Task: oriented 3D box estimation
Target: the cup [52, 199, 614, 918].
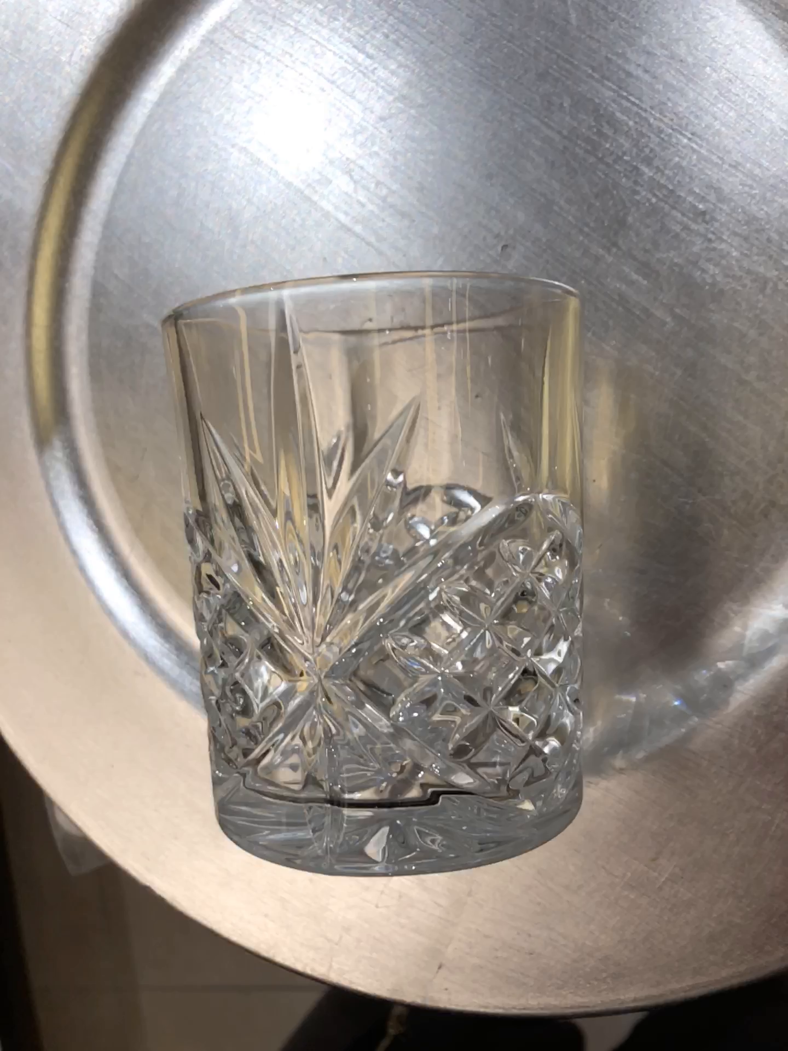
[{"bbox_3d":[-0.006,0.004,0.166,0.080,0.060,0.100,-2,95,22],"label":"cup"}]
